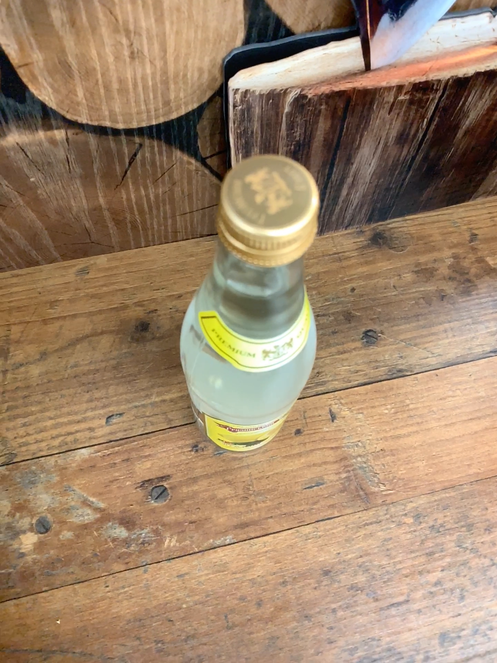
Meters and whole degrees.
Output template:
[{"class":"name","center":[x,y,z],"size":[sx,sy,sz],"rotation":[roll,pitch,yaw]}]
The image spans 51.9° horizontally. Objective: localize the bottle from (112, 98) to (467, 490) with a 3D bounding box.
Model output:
[{"class":"bottle","center":[0.002,0.016,0.224],"size":[0.070,0.220,0.070],"rotation":[1,68,-3]}]

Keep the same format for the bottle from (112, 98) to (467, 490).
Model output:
[{"class":"bottle","center":[0.002,0.016,0.224],"size":[0.070,0.220,0.070],"rotation":[1,68,-3]}]
